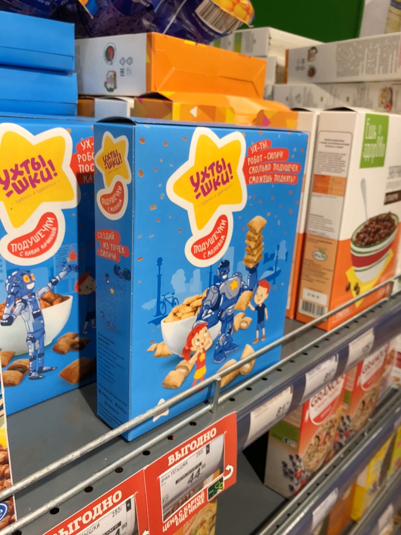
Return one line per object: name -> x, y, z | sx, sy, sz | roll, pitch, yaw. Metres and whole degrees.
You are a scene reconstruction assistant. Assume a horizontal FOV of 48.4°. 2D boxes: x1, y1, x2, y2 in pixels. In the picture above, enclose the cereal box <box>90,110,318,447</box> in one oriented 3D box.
cereal box -> 0.009, -0.003, 0.384 | 0.200, 0.239, 0.050 | -14, 25, -42
